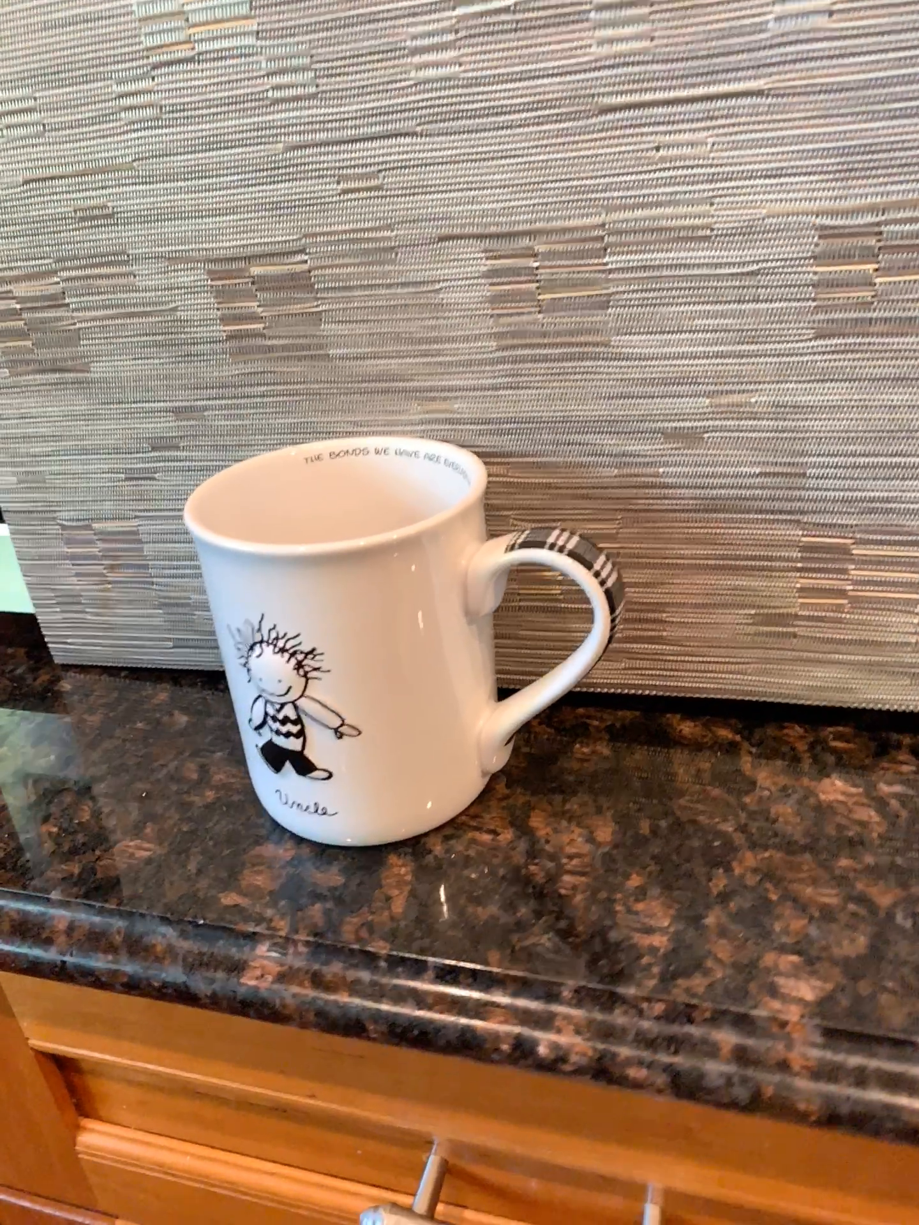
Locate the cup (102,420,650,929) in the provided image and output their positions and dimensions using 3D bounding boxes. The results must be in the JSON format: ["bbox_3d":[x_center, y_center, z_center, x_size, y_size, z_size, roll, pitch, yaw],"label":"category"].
[{"bbox_3d":[-0.015,0.009,0.303,0.130,0.109,0.100,6,30,21],"label":"cup"}]
